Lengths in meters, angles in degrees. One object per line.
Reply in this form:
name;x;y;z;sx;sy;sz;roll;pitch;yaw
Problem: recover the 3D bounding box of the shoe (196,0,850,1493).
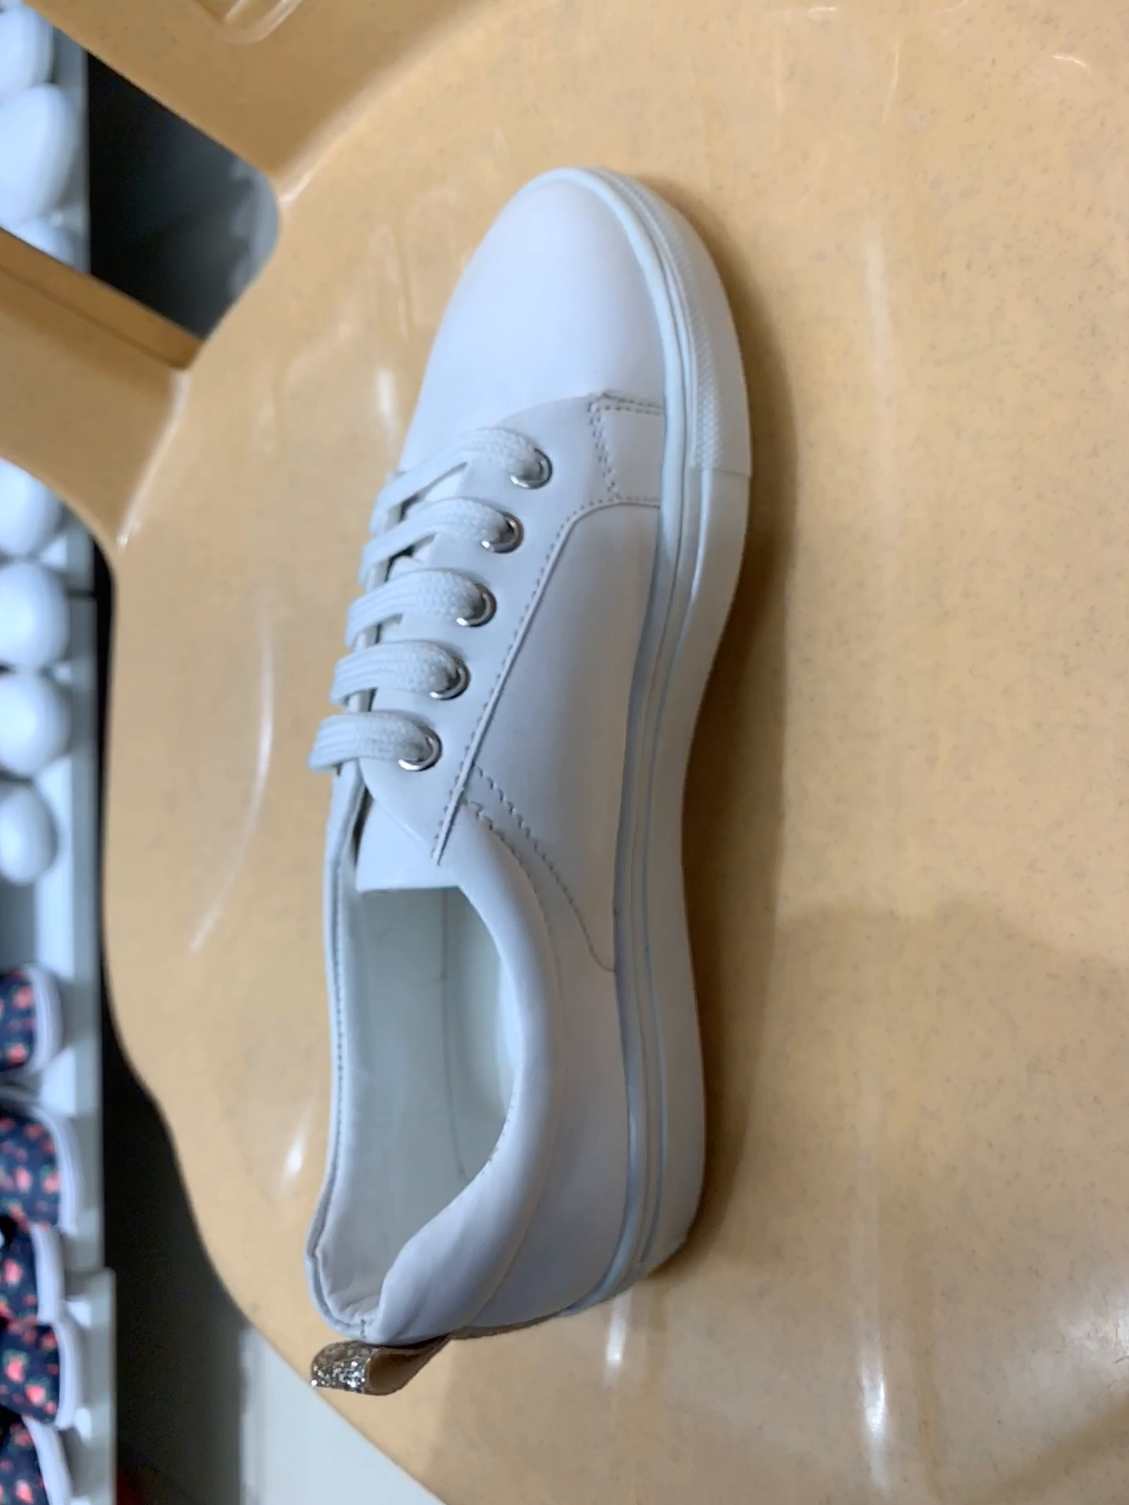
shoe;-0.009;-0.003;0.250;0.091;0.089;0.240;-5;87;42
